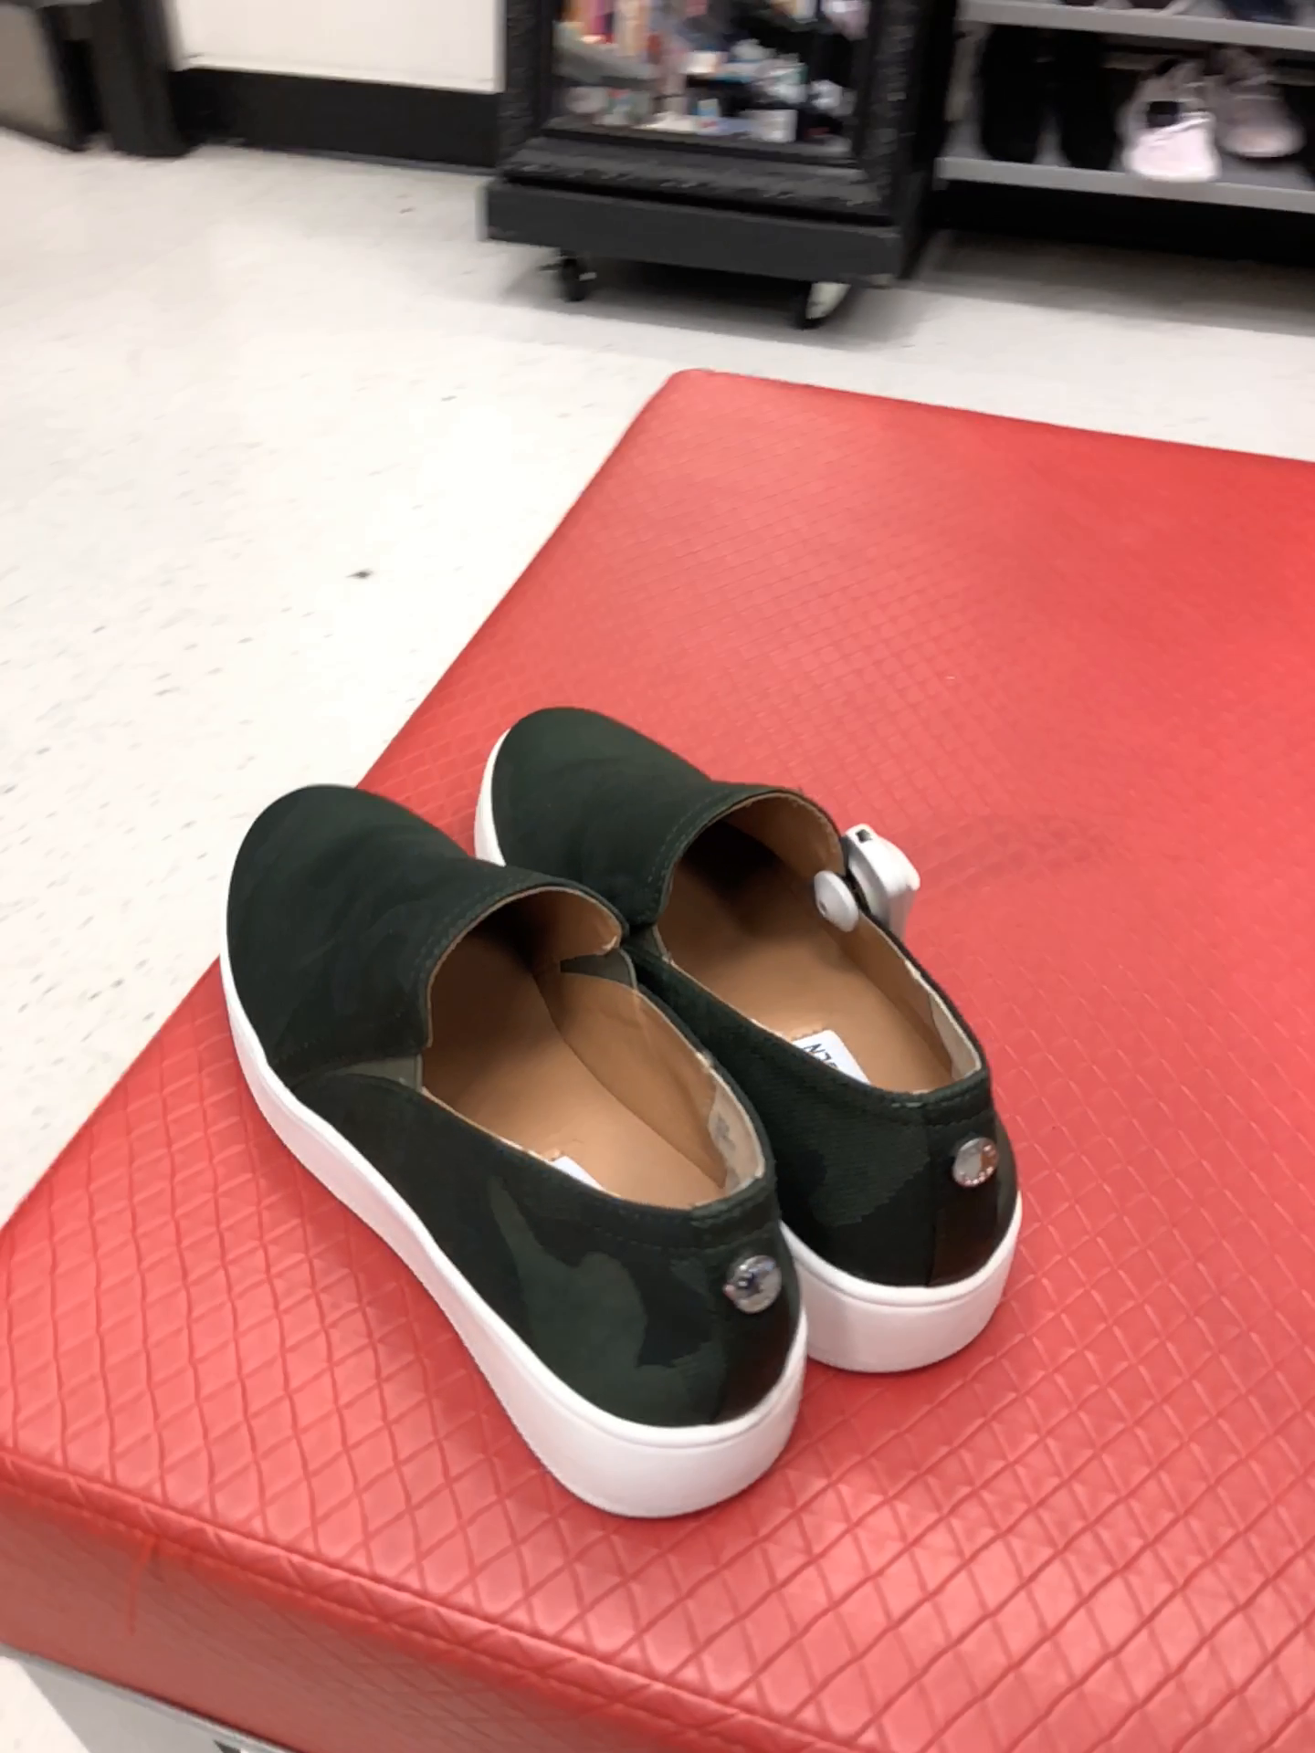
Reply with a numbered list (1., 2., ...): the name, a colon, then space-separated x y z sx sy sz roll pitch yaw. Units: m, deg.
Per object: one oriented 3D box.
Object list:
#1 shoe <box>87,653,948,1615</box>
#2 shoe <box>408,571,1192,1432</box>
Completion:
1. shoe: -0.050 0.046 0.382 0.091 0.090 0.244 -26 47 -28
2. shoe: 0.020 0.015 0.420 0.088 0.090 0.250 -19 44 -22
